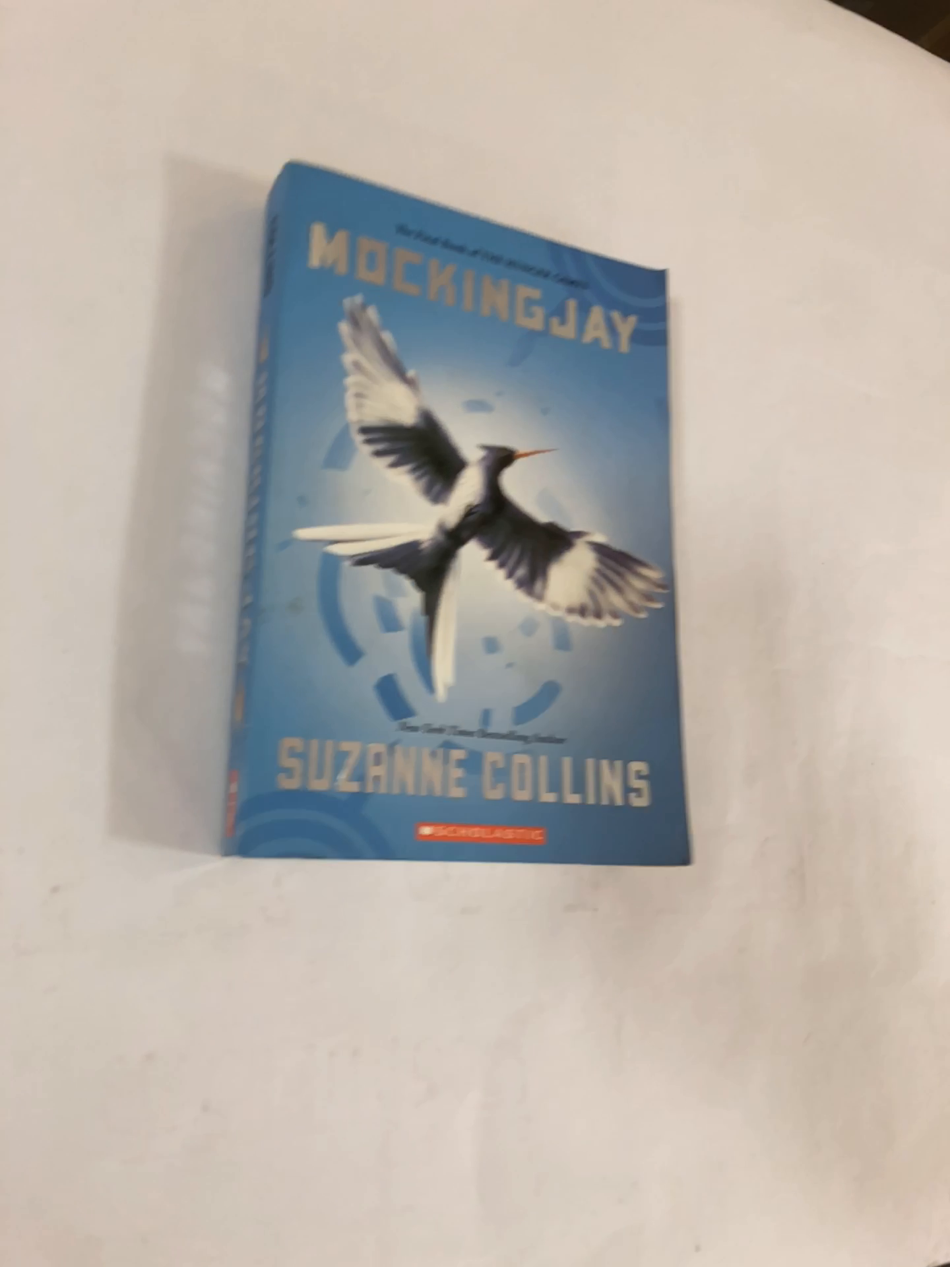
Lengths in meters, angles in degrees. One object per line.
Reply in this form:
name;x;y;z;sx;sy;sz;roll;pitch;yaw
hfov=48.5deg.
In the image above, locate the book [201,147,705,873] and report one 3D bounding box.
book;0.000;-0.028;0.308;0.139;0.029;0.190;7;76;-26
